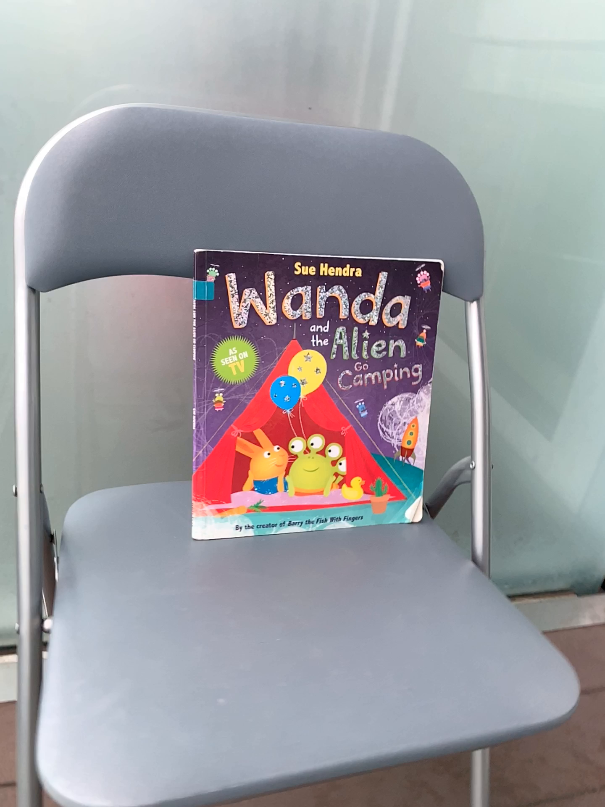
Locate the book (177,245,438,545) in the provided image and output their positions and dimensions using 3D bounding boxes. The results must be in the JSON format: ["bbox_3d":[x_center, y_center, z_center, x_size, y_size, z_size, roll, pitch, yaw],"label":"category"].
[{"bbox_3d":[0.001,-0.004,0.587,0.230,0.269,0.030,-1,16,-17],"label":"book"}]
